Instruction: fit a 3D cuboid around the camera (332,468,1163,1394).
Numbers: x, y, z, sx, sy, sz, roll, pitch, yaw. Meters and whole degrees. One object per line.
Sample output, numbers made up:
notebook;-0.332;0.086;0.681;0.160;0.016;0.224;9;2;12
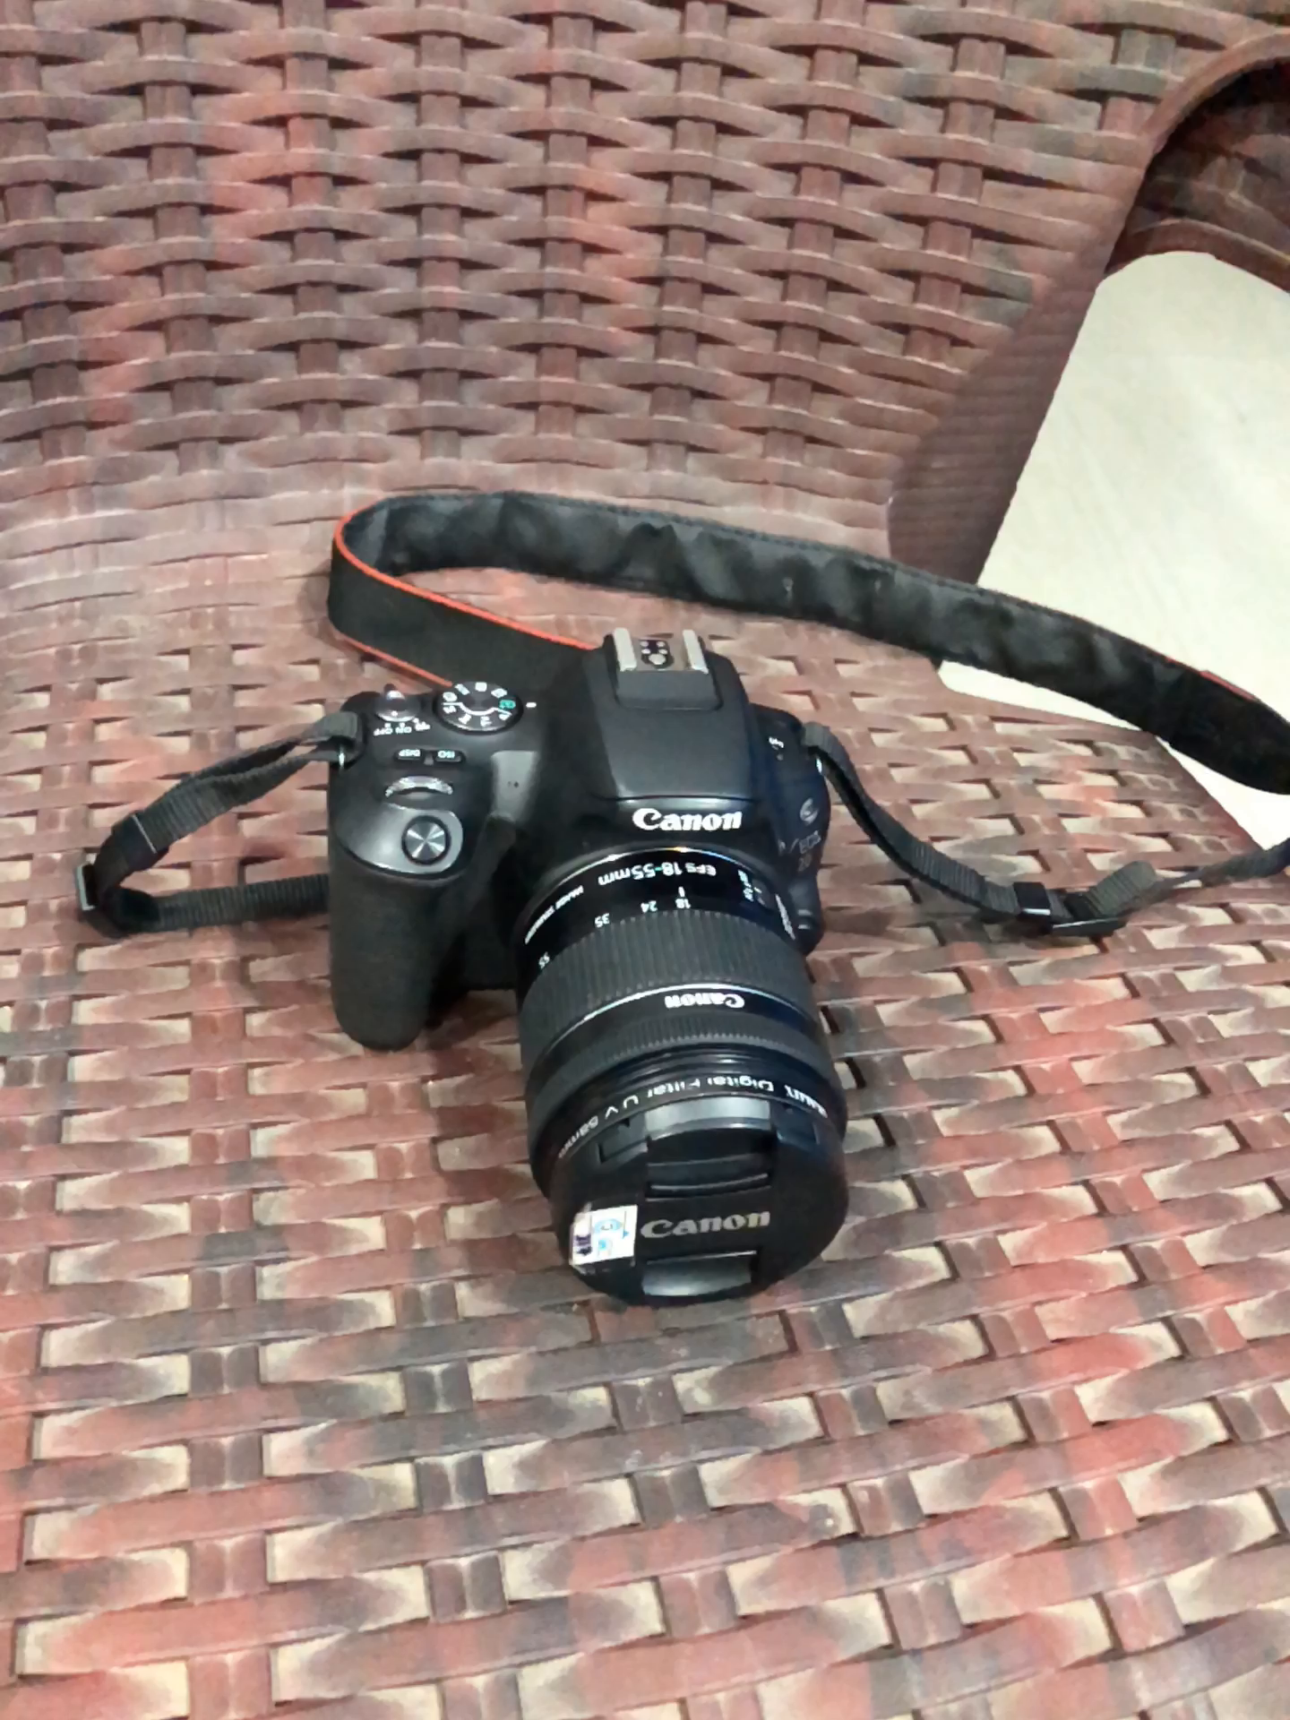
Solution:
camera;0.002;0.012;0.326;0.140;0.109;0.171;0;51;-11
